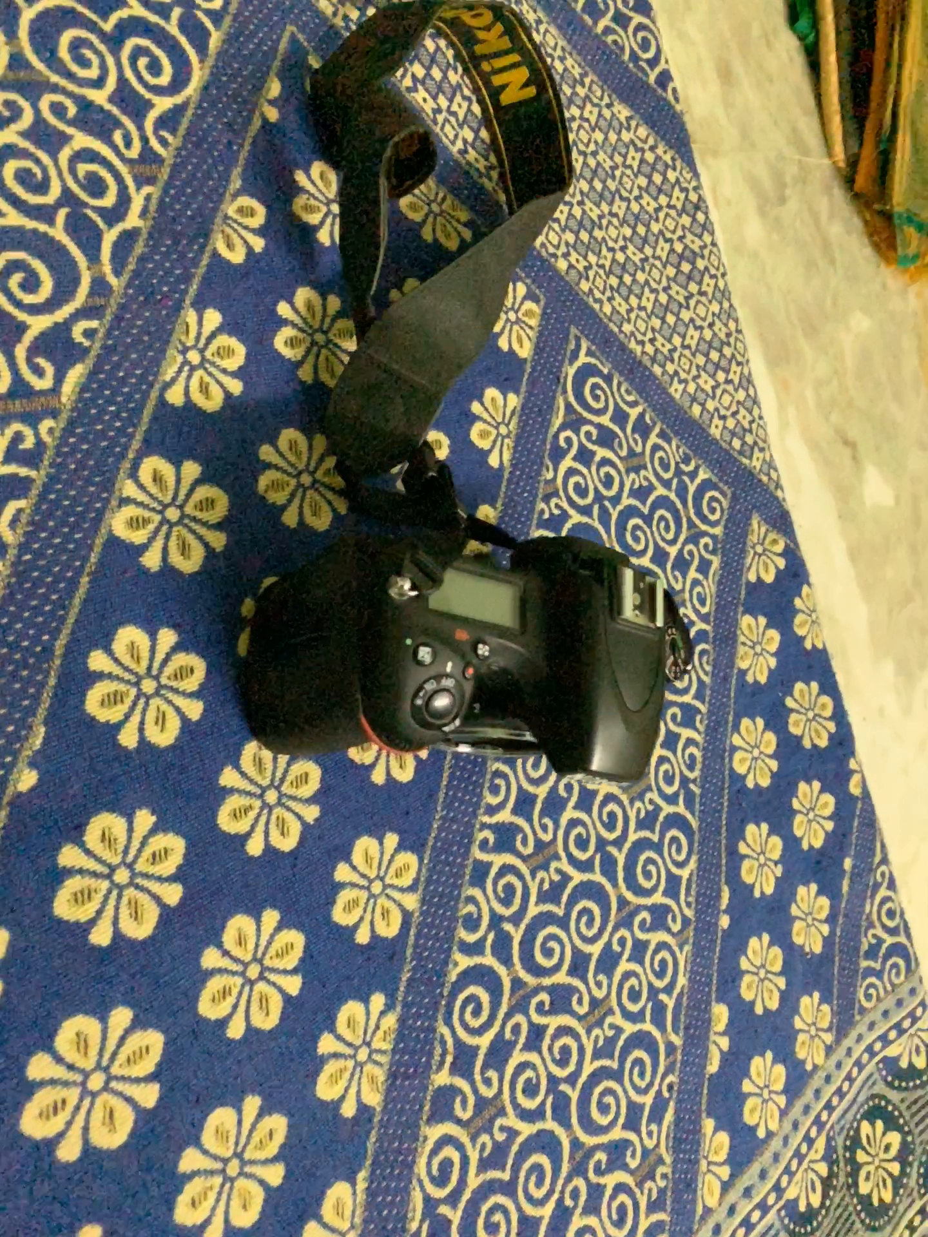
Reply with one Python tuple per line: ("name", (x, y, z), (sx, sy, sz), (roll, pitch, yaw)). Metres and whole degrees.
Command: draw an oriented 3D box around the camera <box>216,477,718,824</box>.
("camera", (0.007, 0.024, 0.336), (0.151, 0.090, 0.088), (14, 72, -39))
